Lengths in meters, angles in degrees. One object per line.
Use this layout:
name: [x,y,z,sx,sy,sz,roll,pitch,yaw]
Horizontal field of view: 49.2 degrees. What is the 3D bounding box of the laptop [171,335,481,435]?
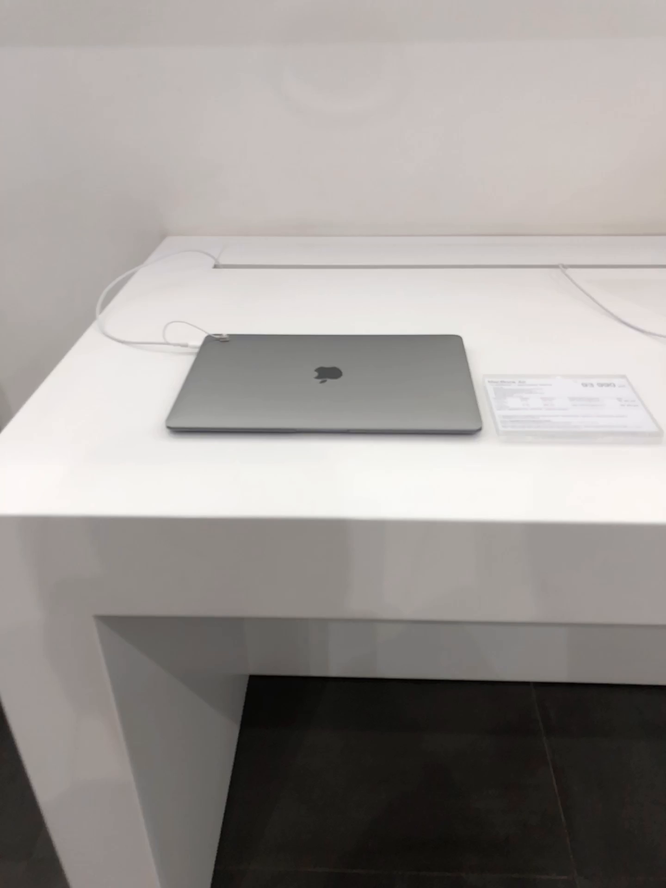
laptop: [-0.004,-0.069,0.773,0.292,0.006,0.205,1,33,3]
